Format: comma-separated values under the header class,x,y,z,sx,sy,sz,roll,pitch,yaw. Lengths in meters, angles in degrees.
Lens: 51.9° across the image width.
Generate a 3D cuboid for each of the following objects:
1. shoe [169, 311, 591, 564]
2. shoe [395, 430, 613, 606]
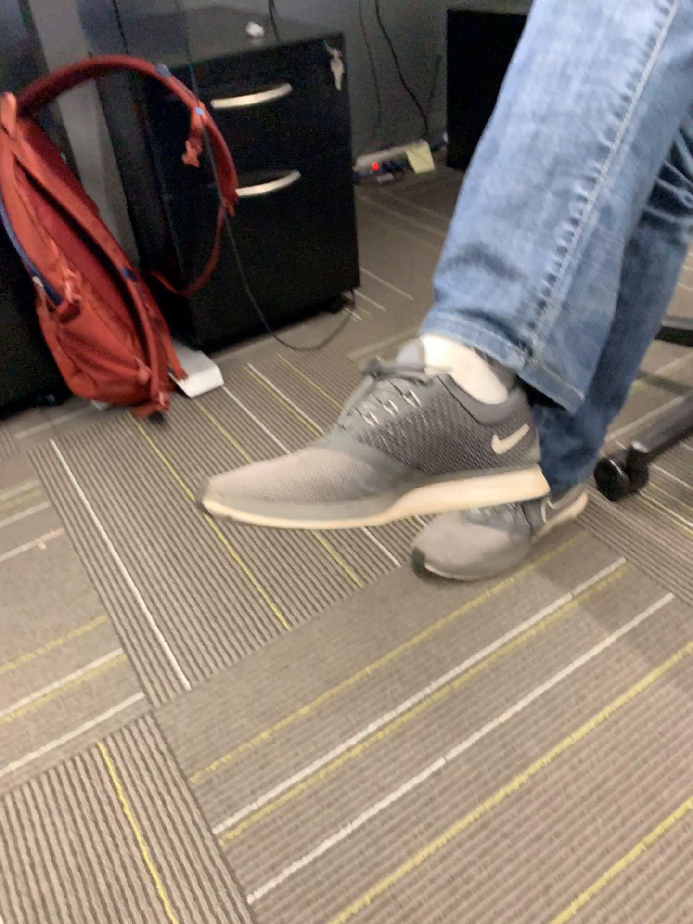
class,x,y,z,sx,sy,sz,roll,pitch,yaw
shoe,0.021,-0.021,0.572,0.295,0.143,0.122,-9,-3,-16
shoe,0.212,0.068,0.966,0.269,0.085,0.120,-24,43,-22
